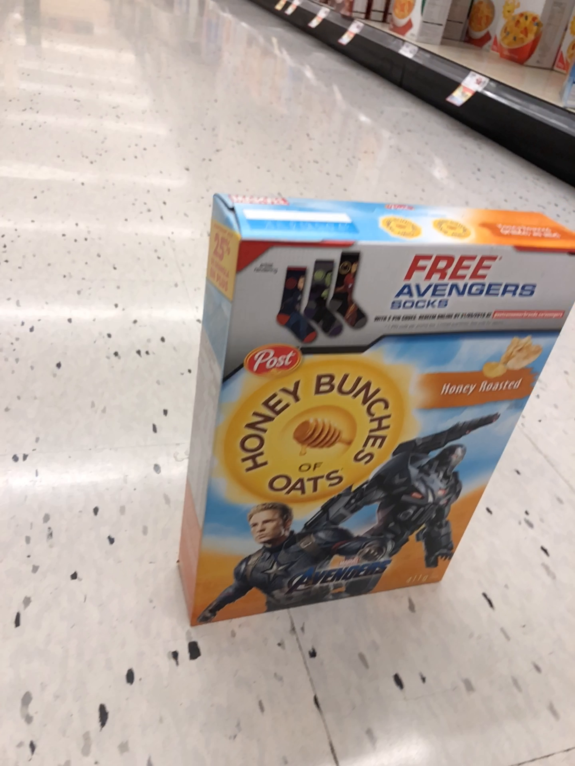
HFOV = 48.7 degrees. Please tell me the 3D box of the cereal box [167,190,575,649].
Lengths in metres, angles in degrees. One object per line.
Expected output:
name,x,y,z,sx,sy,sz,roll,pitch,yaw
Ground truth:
cereal box,0.048,0.031,0.368,0.210,0.258,0.060,-3,37,-21
